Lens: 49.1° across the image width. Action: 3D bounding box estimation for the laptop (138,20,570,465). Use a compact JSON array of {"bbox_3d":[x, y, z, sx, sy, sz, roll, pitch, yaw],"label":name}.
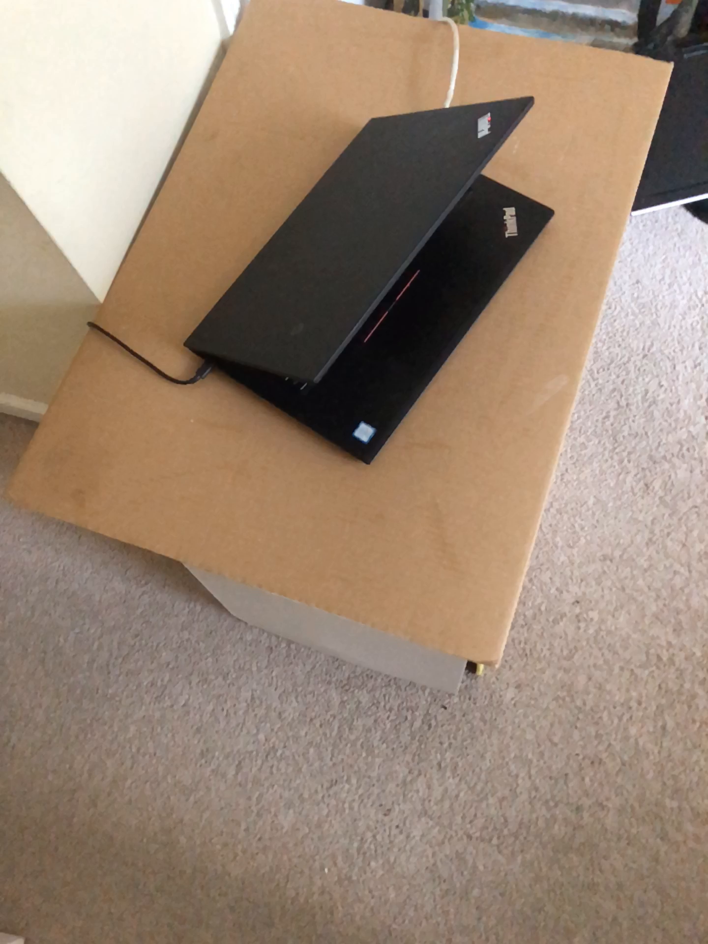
[{"bbox_3d":[0.008,-0.221,0.742,0.231,0.140,0.334,32,77,17],"label":"laptop"}]
